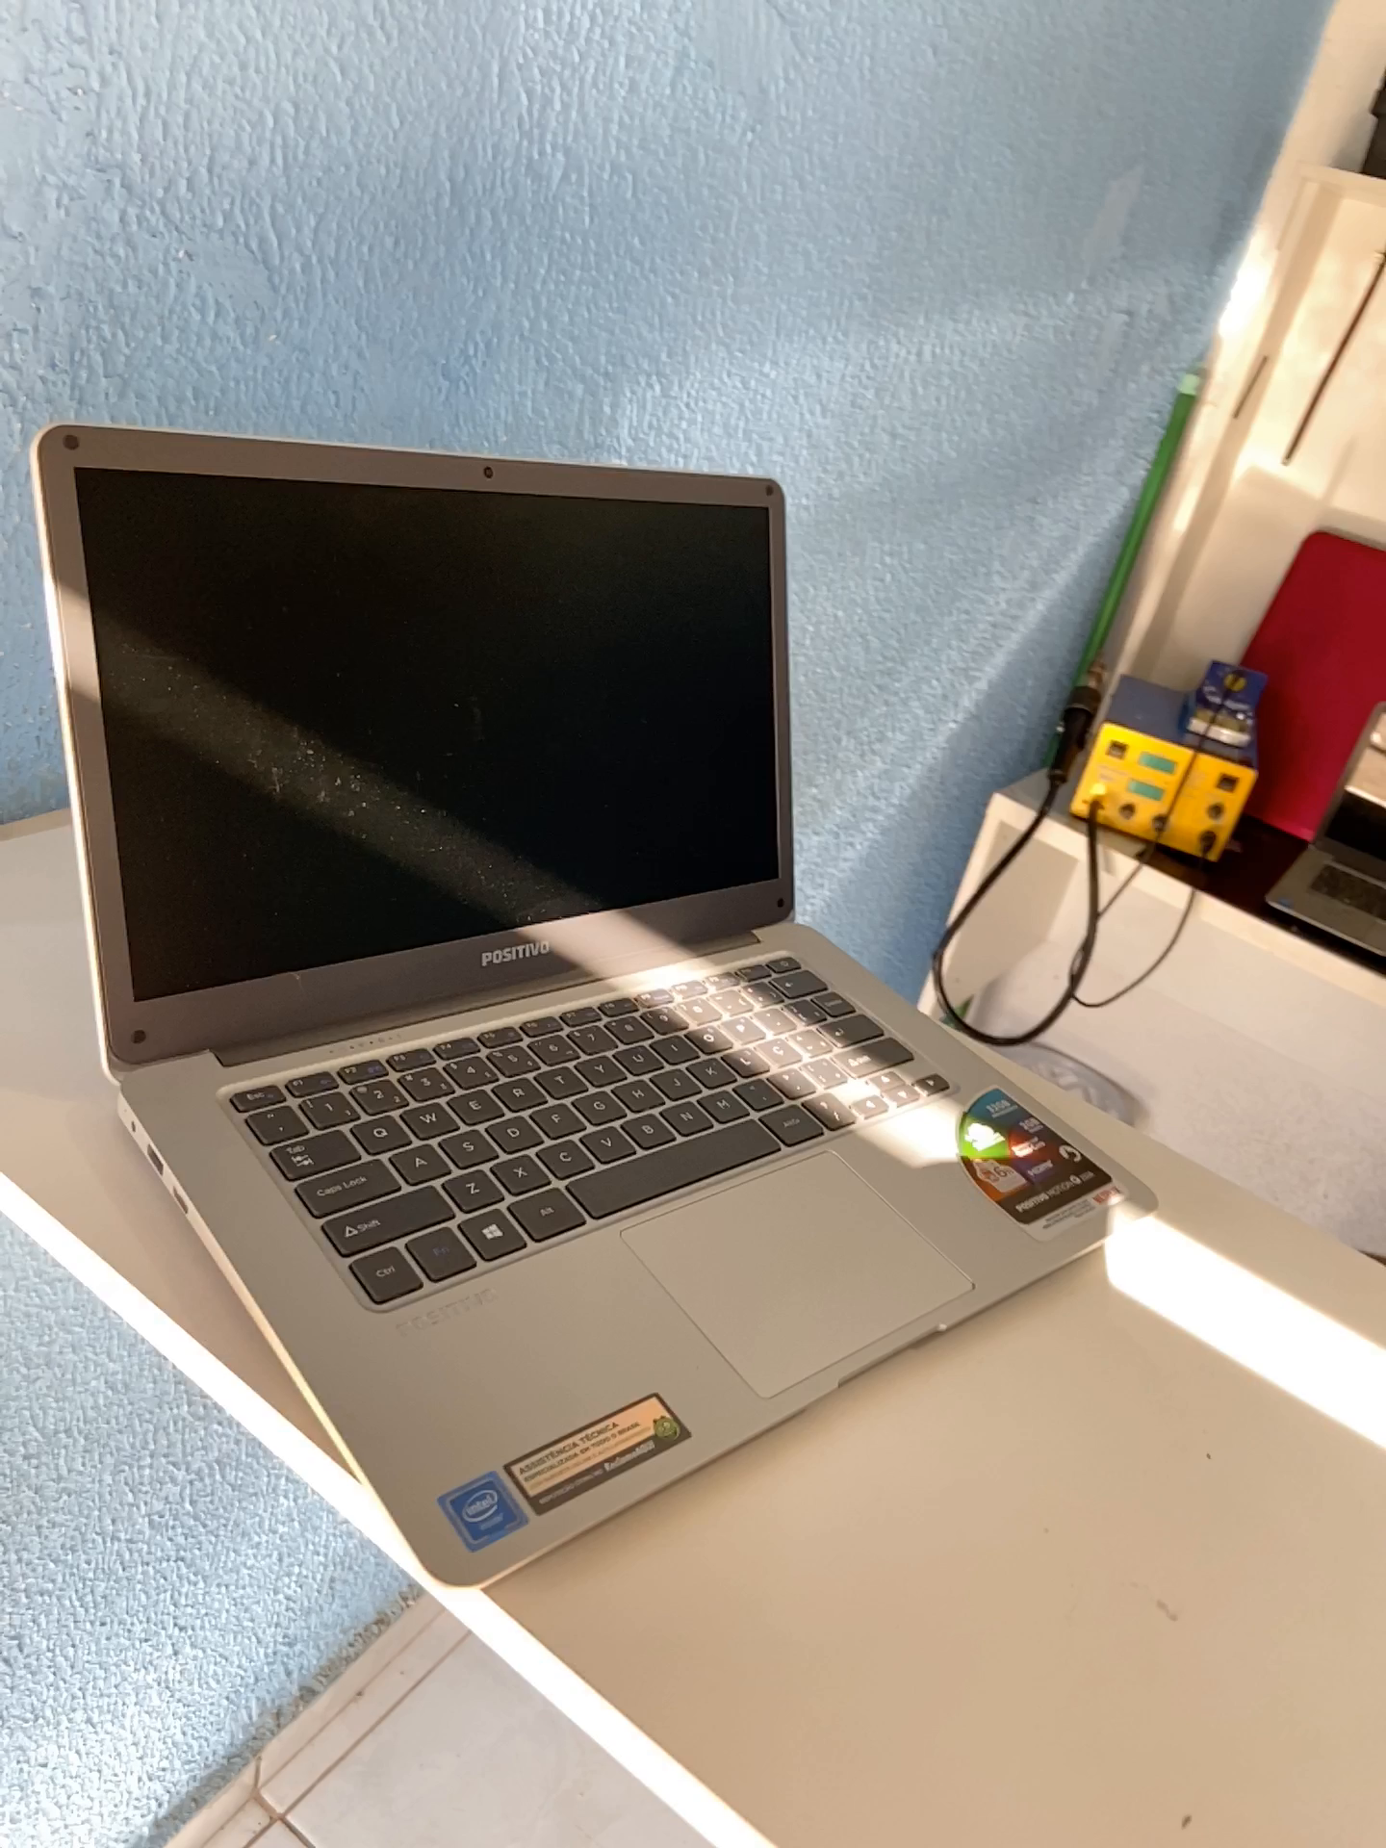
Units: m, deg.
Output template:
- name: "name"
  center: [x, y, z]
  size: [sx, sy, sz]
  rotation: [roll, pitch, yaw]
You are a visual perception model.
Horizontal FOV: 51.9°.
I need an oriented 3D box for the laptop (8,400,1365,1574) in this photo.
- name: "laptop"
  center: [-0.013, -0.027, 0.508]
  size: [0.334, 0.189, 0.311]
  rotation: [-11, 38, -41]
